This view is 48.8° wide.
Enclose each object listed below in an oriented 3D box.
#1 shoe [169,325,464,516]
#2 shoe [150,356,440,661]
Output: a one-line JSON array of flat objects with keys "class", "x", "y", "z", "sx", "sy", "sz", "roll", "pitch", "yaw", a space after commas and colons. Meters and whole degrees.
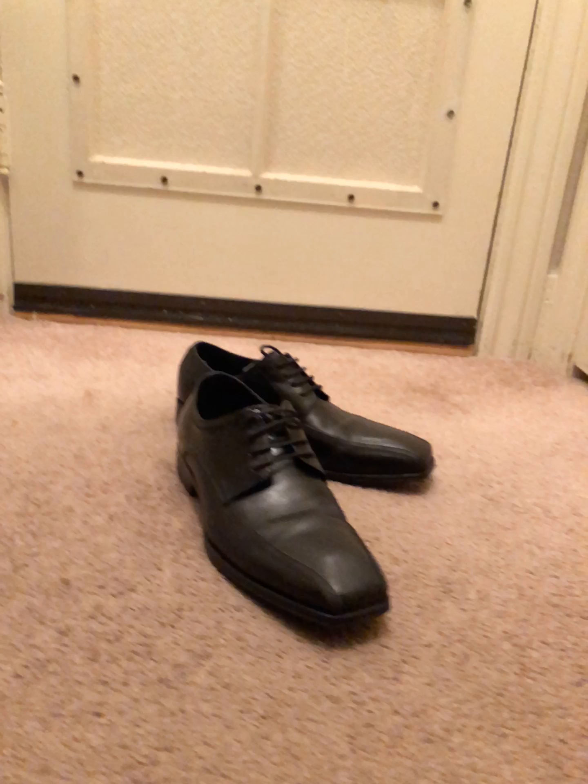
[{"class": "shoe", "x": 0.018, "y": 0.018, "z": 0.717, "sx": 0.297, "sy": 0.110, "sz": 0.115, "roll": 15, "pitch": 22, "yaw": 24}, {"class": "shoe", "x": -0.023, "y": 0.067, "z": 0.537, "sx": 0.110, "sy": 0.107, "sz": 0.284, "roll": -6, "pitch": 23, "yaw": -28}]
